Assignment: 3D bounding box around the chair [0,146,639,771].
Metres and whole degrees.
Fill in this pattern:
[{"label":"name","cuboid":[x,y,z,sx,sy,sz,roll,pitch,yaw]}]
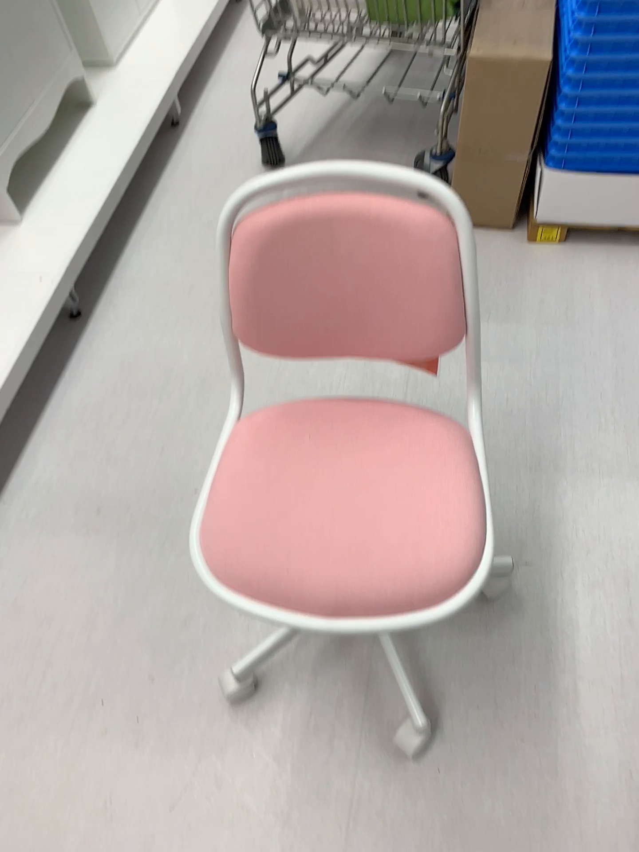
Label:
[{"label":"chair","cuboid":[0.020,0.096,0.901,0.560,0.698,0.531,3,56,10]}]
